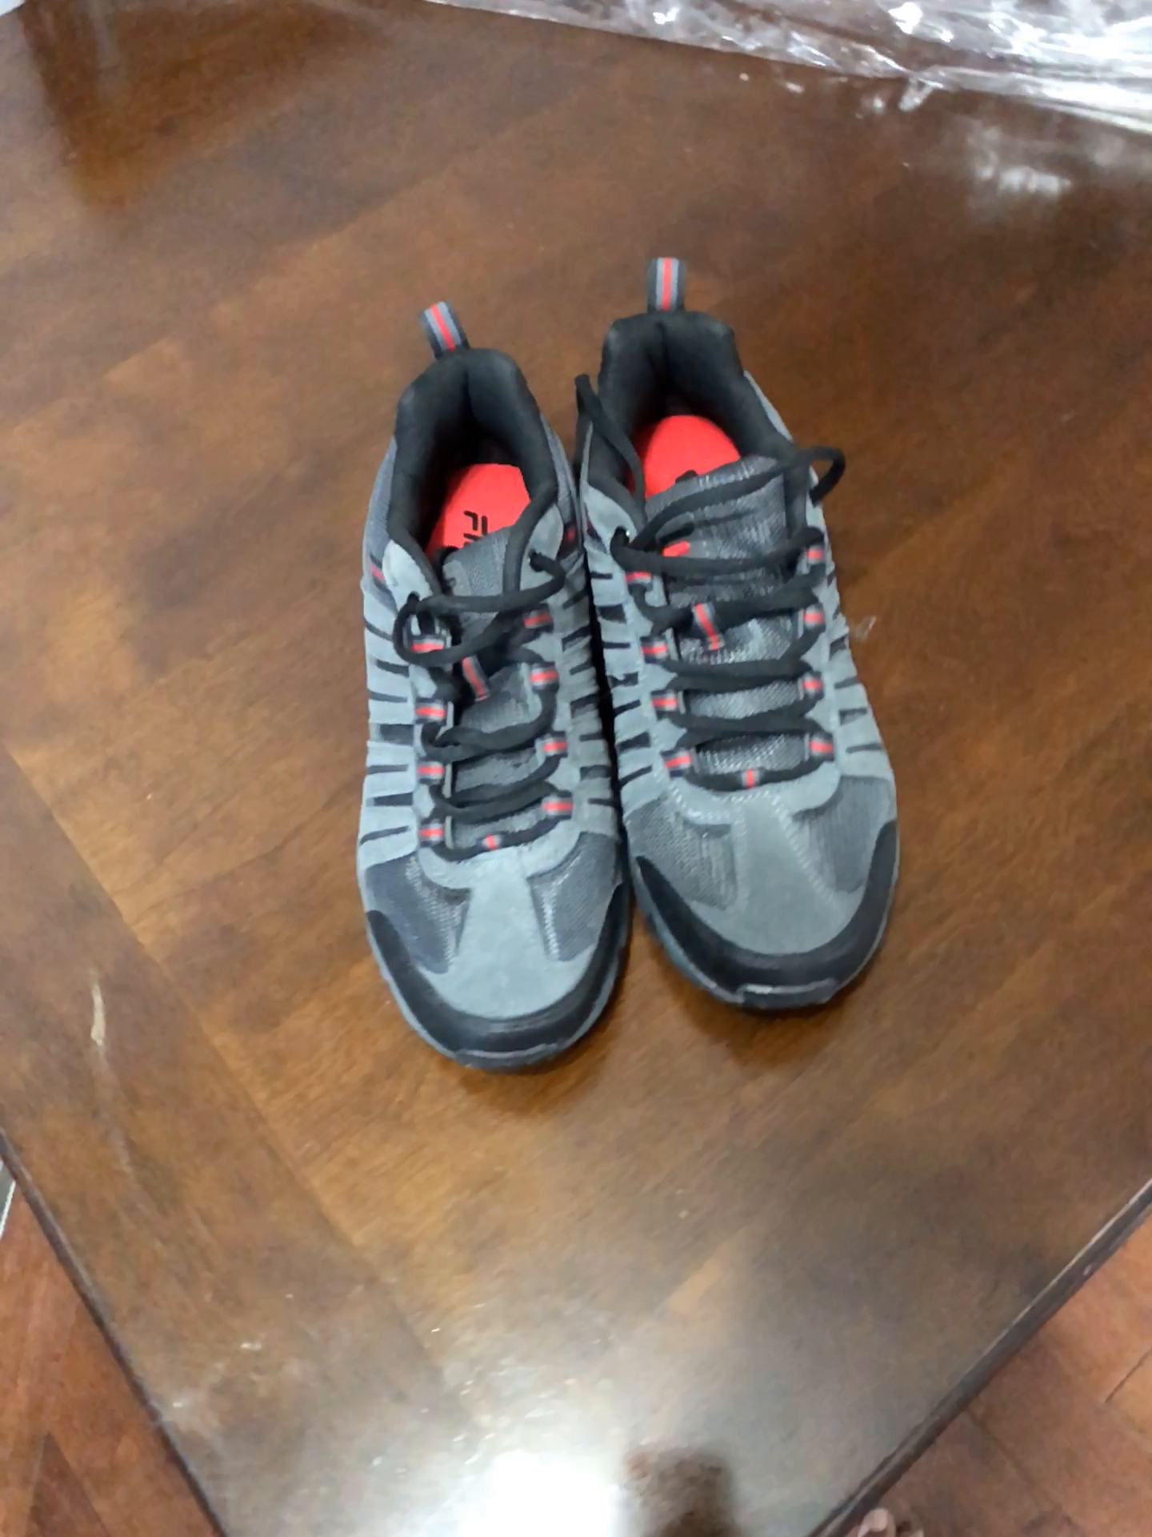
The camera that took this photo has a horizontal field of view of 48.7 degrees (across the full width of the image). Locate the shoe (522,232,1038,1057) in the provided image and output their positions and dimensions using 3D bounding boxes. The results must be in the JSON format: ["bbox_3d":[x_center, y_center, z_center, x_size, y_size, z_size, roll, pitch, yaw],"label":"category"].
[{"bbox_3d":[0.062,-0.058,0.496,0.120,0.100,0.300,-10,61,1],"label":"shoe"}]

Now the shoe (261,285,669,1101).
[{"bbox_3d":[-0.036,-0.037,0.495,0.120,0.100,0.300,-4,61,4],"label":"shoe"}]
